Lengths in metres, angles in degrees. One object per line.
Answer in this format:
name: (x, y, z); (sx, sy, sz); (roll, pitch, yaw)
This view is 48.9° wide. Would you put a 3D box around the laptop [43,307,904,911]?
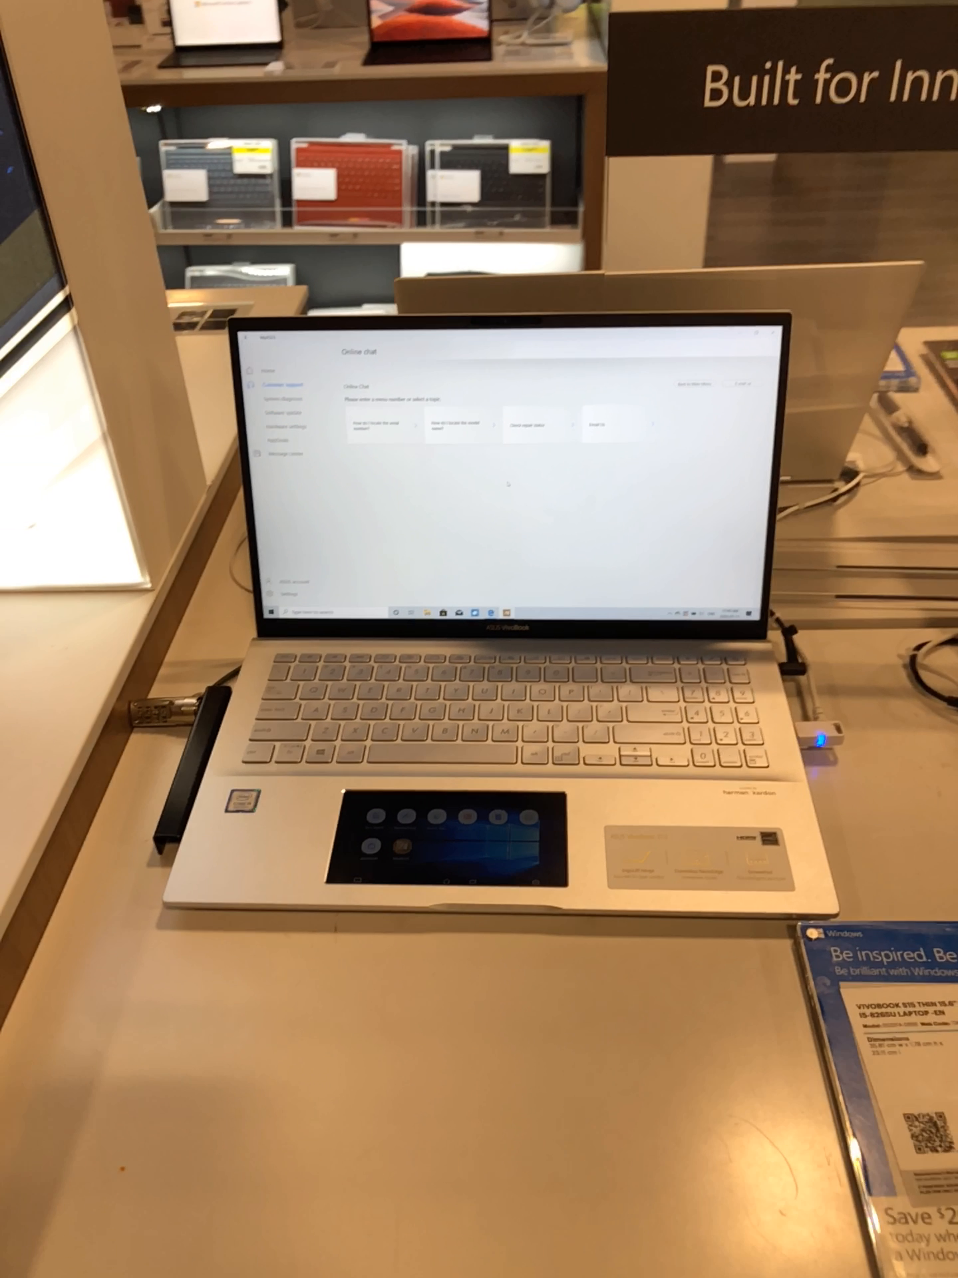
laptop: (0.005, -0.033, 0.572); (0.330, 0.189, 0.285); (0, 37, 4)
